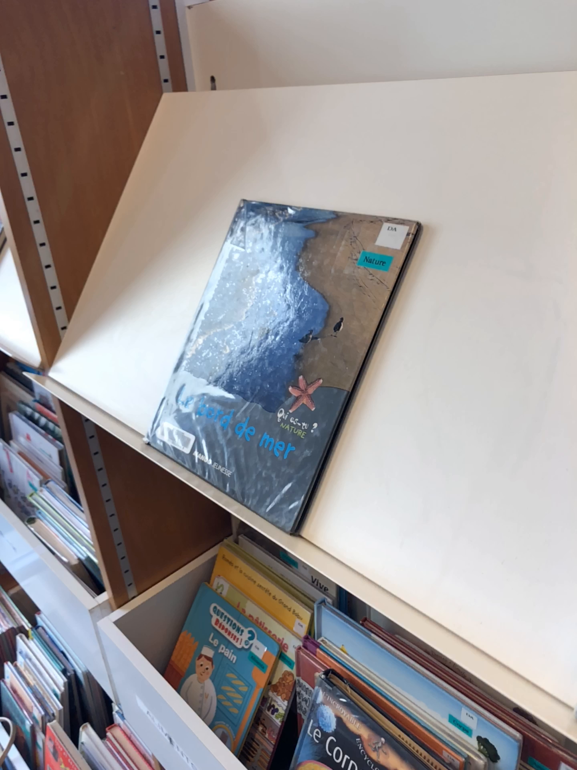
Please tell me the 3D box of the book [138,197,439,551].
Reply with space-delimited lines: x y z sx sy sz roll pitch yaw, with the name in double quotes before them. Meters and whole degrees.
"book" -0.015 -0.027 0.518 0.209 0.245 0.020 22 0 44
